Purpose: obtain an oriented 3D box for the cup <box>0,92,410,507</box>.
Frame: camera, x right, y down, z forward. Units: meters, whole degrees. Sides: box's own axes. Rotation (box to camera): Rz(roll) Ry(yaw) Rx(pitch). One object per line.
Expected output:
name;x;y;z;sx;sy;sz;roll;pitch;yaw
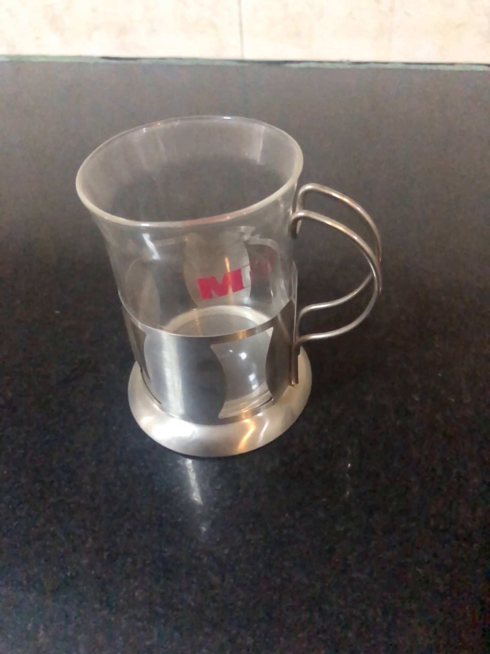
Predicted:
cup;-0.007;-0.010;0.194;0.110;0.109;0.081;6;45;12
